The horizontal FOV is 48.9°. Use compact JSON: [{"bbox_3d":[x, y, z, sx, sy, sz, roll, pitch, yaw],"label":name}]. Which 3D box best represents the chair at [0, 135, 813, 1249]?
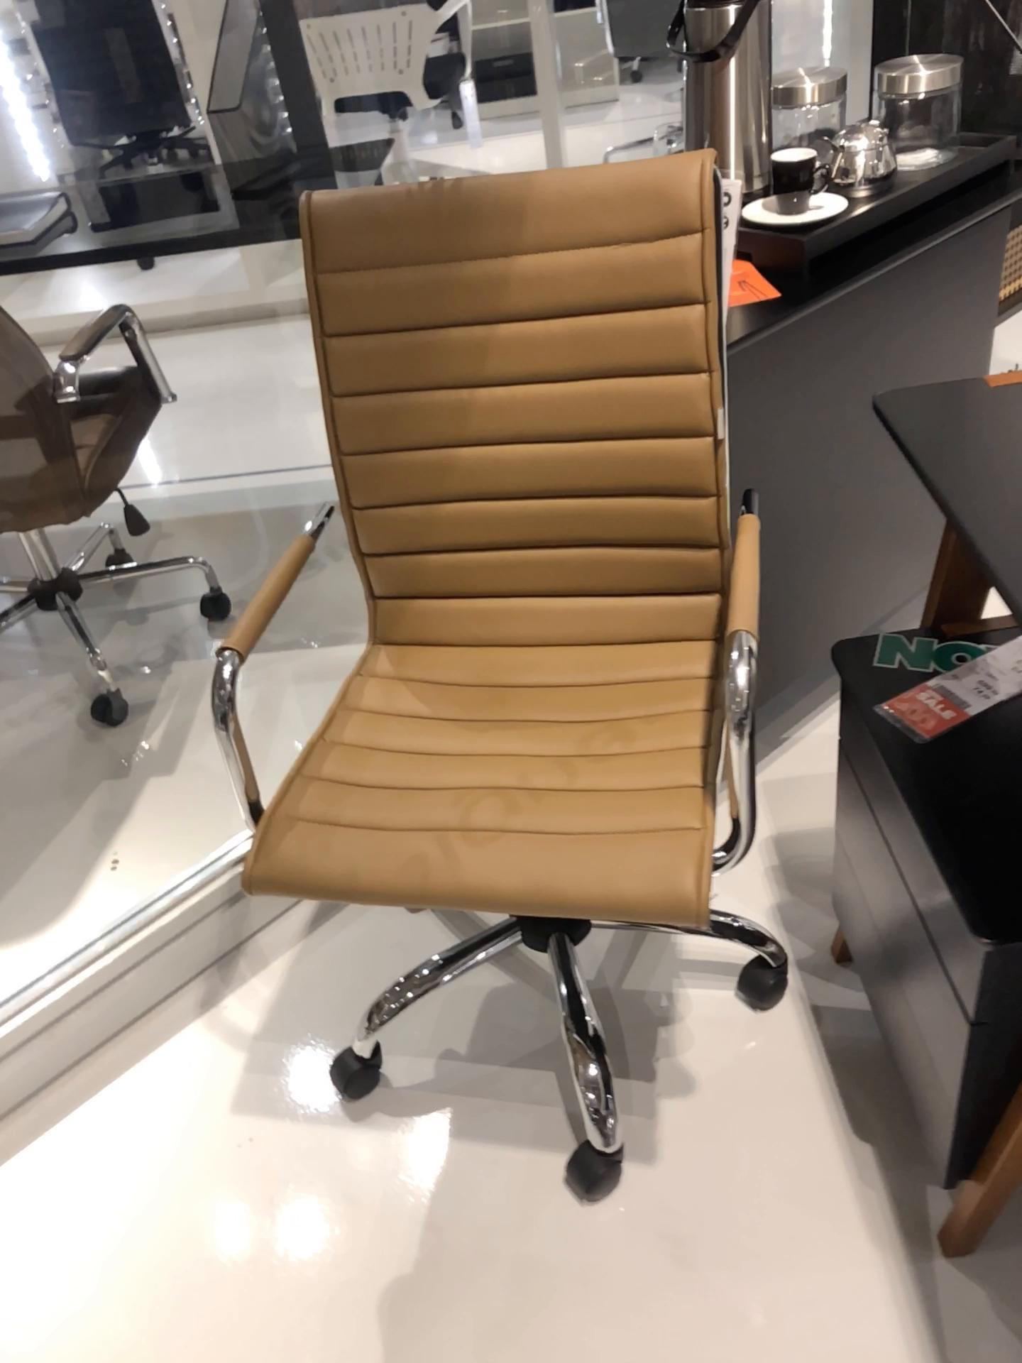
[{"bbox_3d":[0.000,0.025,1.211,0.600,0.943,0.614,2,38,15],"label":"chair"}]
